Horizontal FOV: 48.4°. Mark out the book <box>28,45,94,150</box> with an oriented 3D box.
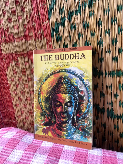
[{"bbox_3d":[-0.004,0.029,0.307,0.146,0.207,0.030,1,2,21],"label":"book"}]
